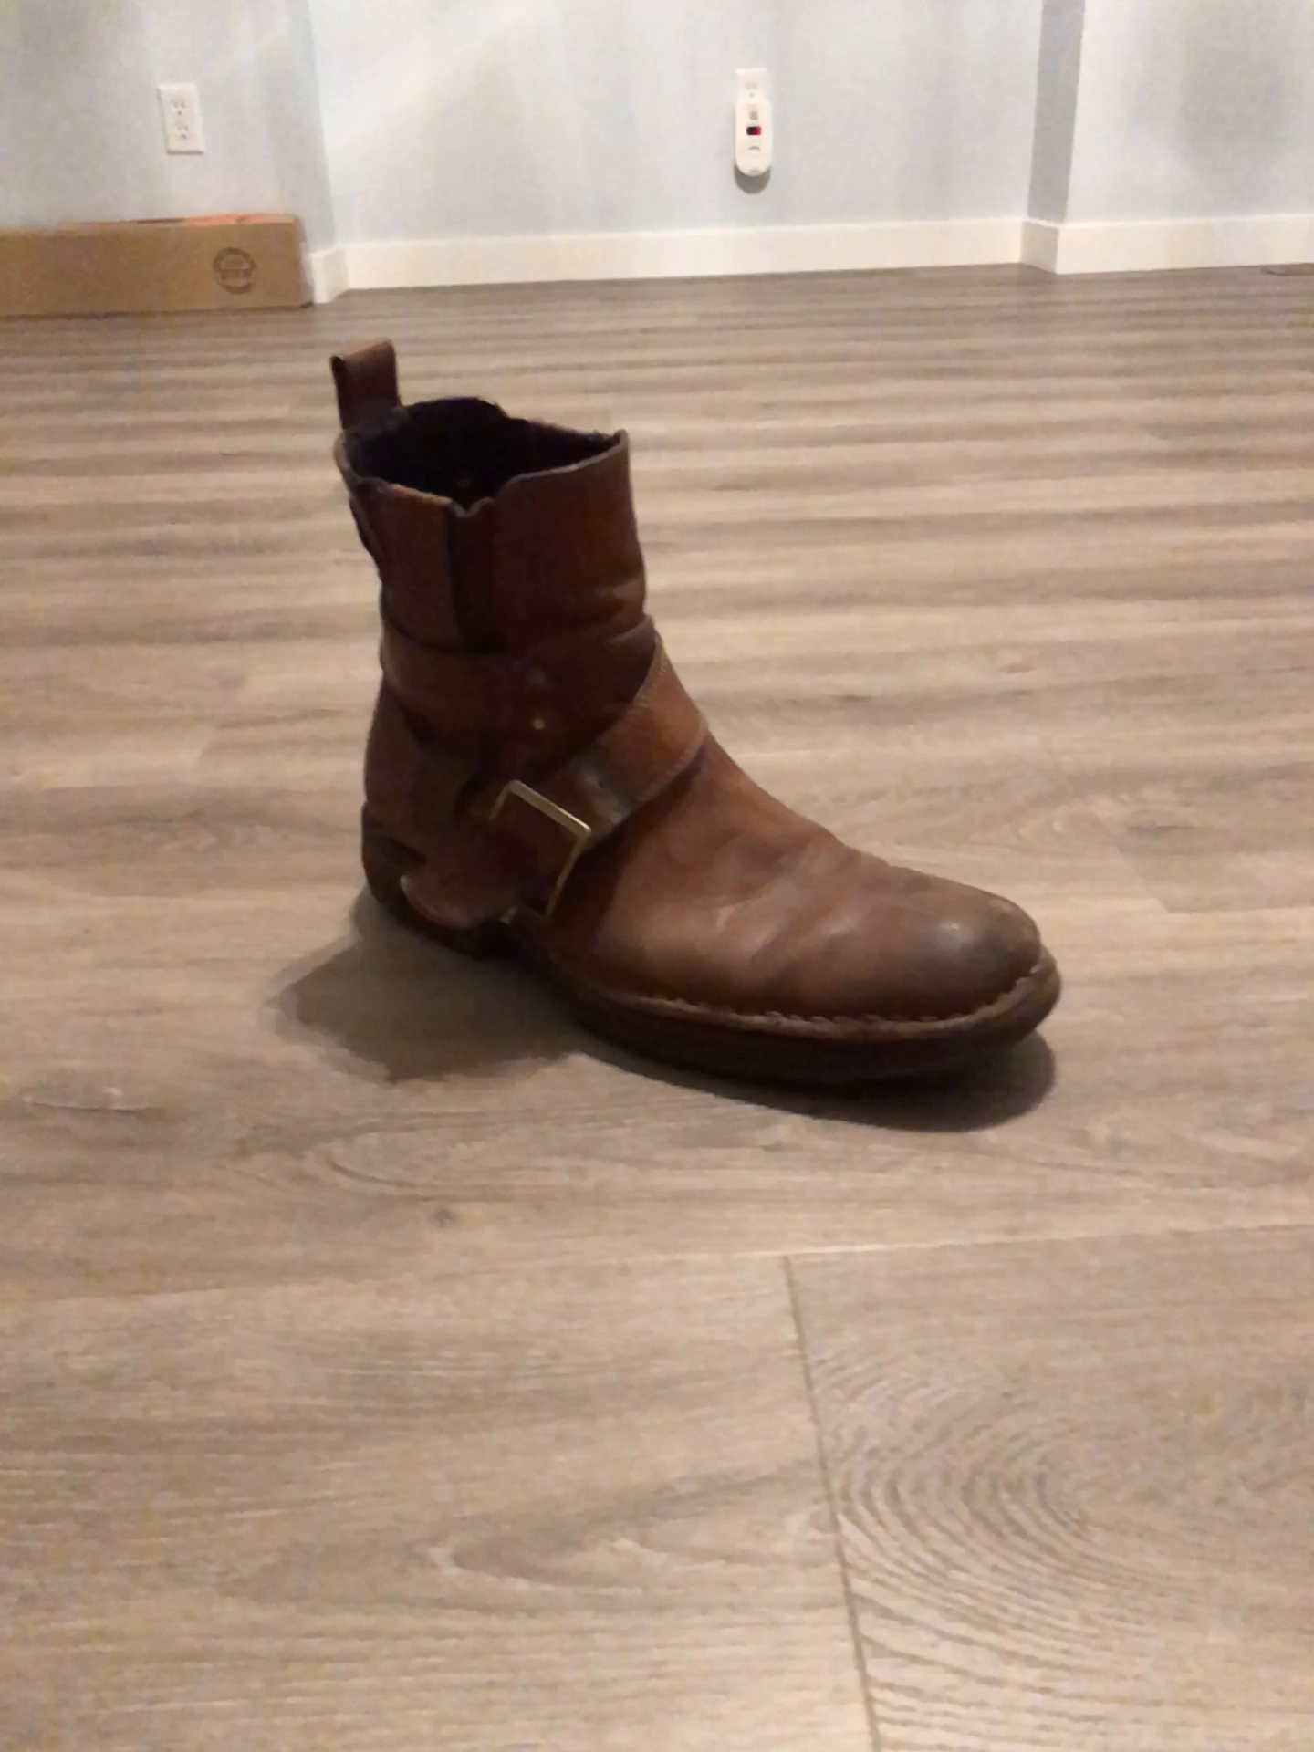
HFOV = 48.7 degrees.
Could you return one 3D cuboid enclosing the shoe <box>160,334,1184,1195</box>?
[{"bbox_3d":[-0.001,-0.060,0.491,0.290,0.209,0.130,15,31,31],"label":"shoe"}]
